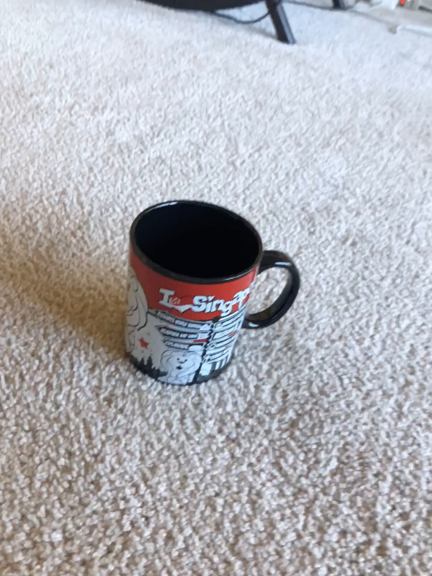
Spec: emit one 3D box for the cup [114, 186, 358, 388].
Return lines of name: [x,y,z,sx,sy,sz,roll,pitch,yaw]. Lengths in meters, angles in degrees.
cup: [0.002,-0.004,0.318,0.130,0.090,0.090,-2,42,-14]
